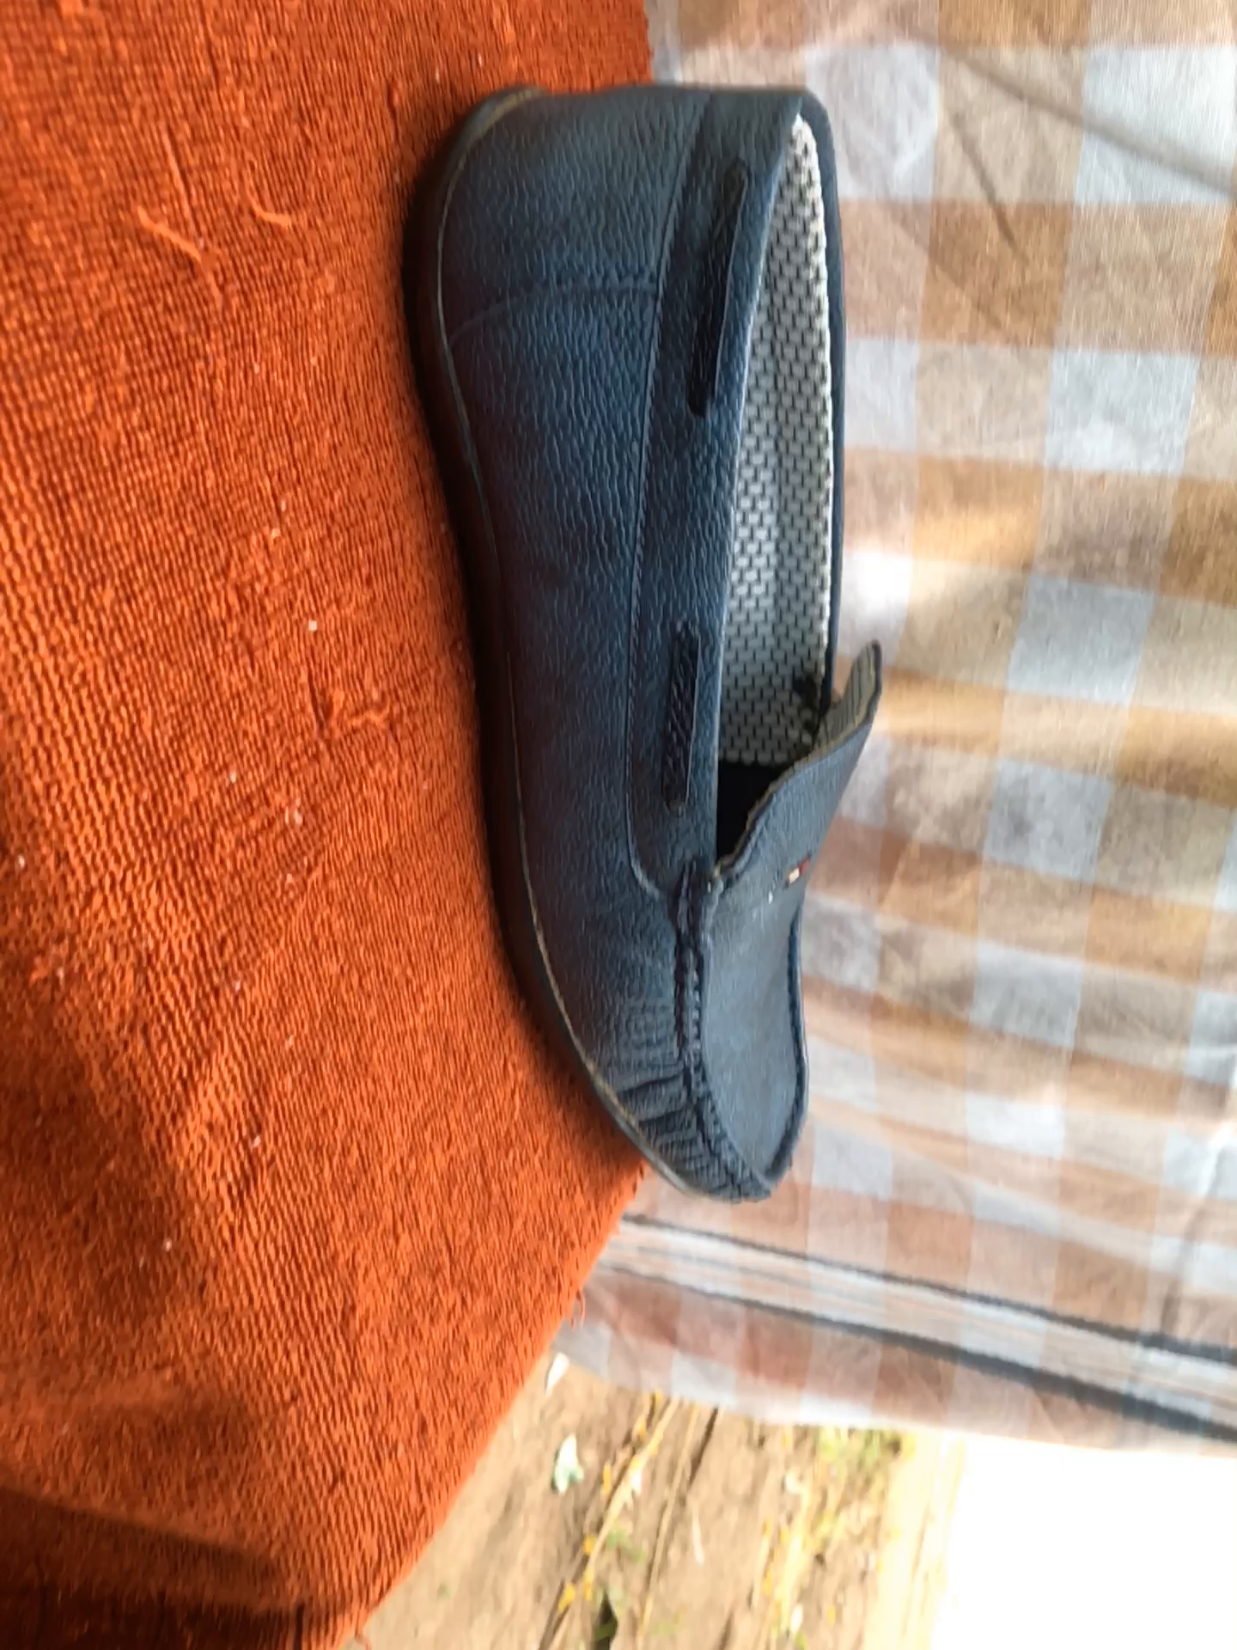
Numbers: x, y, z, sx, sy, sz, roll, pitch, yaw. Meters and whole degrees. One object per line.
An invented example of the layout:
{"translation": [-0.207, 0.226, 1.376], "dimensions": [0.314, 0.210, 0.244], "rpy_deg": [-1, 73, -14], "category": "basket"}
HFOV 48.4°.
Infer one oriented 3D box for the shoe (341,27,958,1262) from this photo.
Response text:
{"translation": [0.022, -0.037, 0.330], "dimensions": [0.100, 0.089, 0.261], "rpy_deg": [-50, 141, -53], "category": "shoe"}
